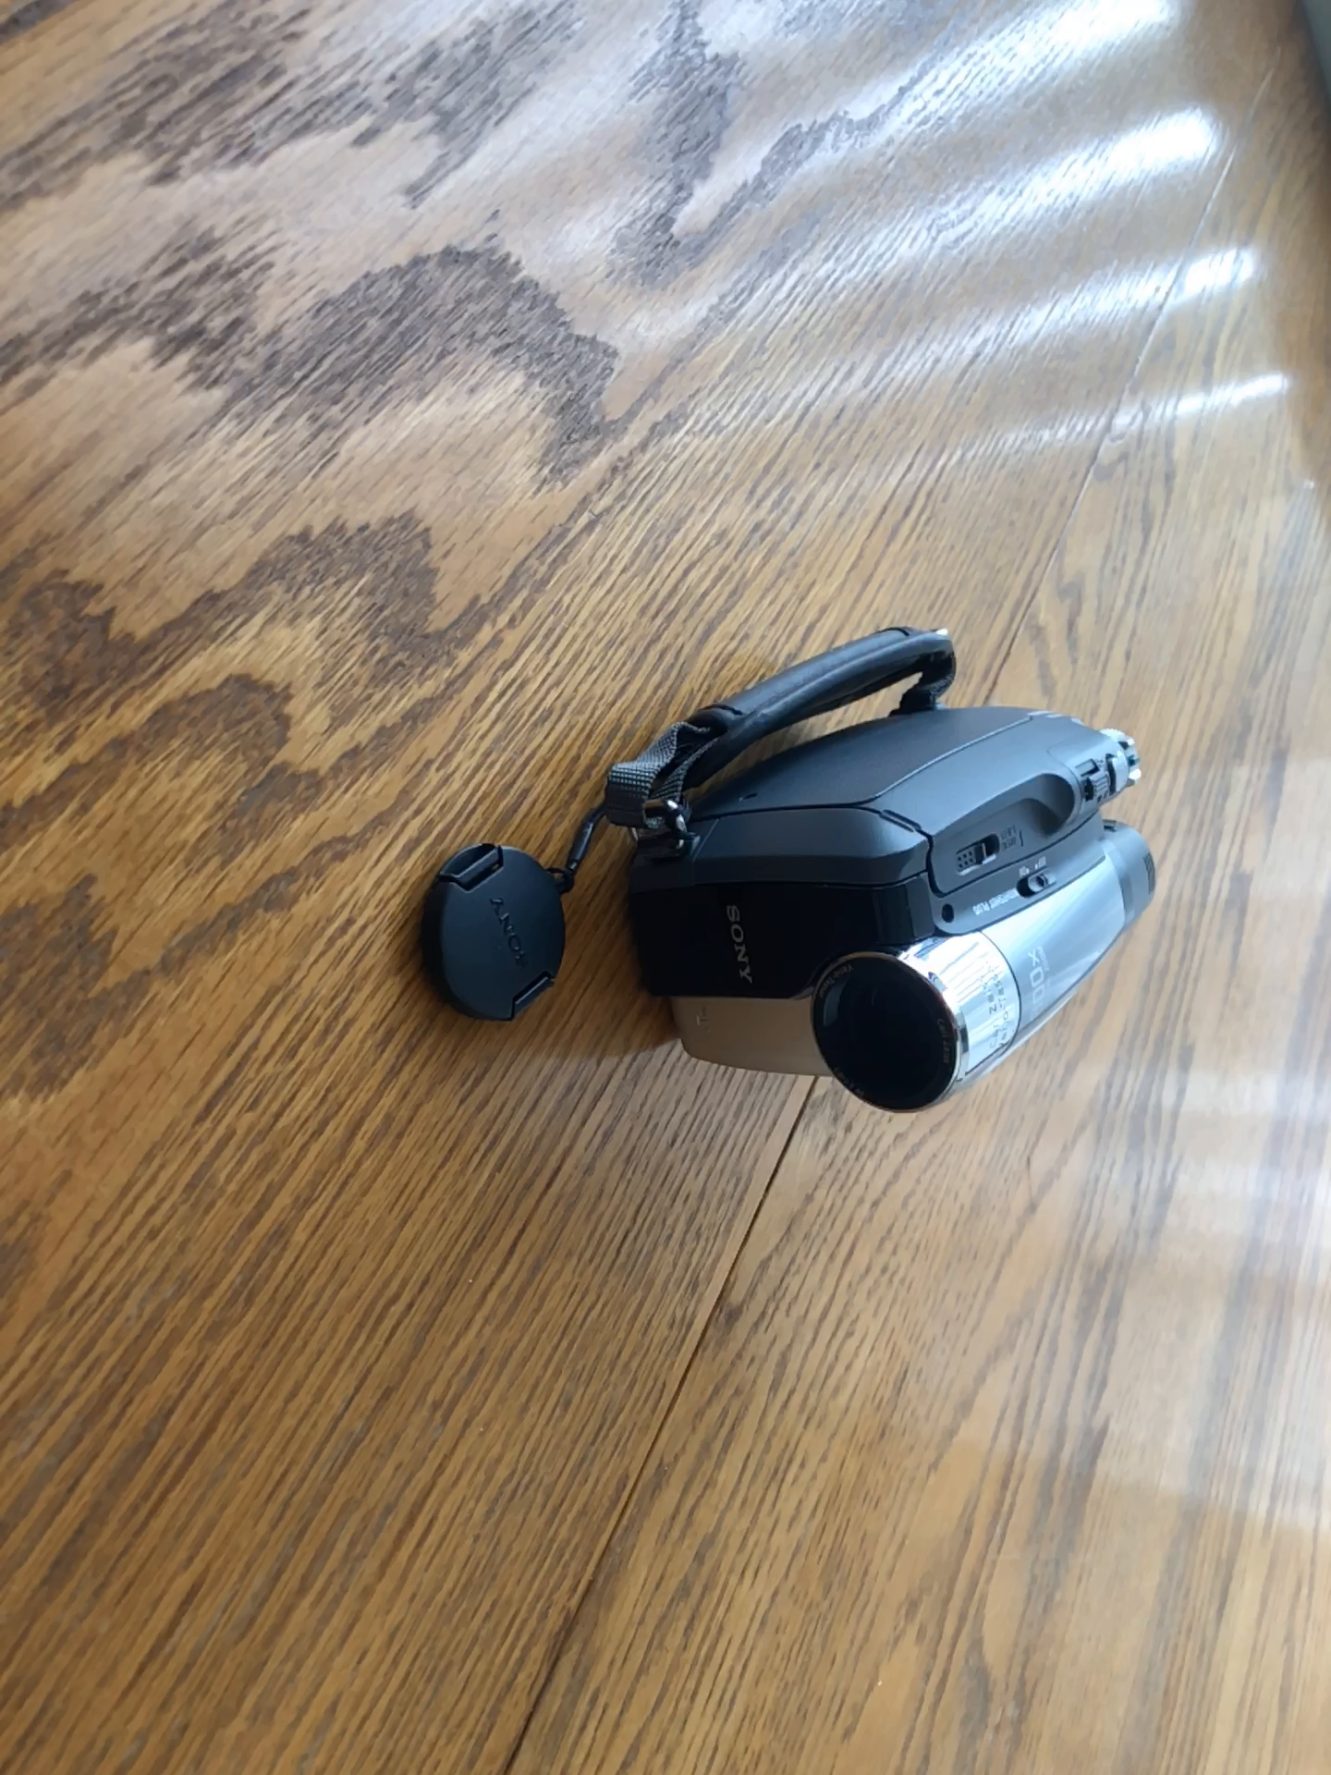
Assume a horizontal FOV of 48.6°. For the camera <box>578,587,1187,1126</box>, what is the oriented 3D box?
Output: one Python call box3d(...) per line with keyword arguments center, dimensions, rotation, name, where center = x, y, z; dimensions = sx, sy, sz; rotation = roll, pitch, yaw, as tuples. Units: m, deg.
box3d(center=(0.053, -0.011, 0.320), dimensions=(0.112, 0.072, 0.079), rotation=(-27, 109, -48), name="camera")
